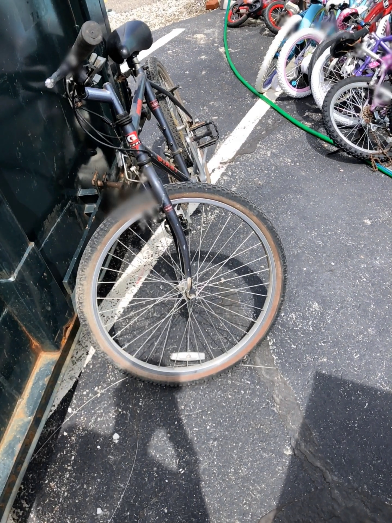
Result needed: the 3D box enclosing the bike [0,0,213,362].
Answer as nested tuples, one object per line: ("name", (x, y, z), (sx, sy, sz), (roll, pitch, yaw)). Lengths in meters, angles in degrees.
("bike", (-0.427, -0.405, 1.449), (0.634, 0.832, 1.106), (5, 44, 11))
